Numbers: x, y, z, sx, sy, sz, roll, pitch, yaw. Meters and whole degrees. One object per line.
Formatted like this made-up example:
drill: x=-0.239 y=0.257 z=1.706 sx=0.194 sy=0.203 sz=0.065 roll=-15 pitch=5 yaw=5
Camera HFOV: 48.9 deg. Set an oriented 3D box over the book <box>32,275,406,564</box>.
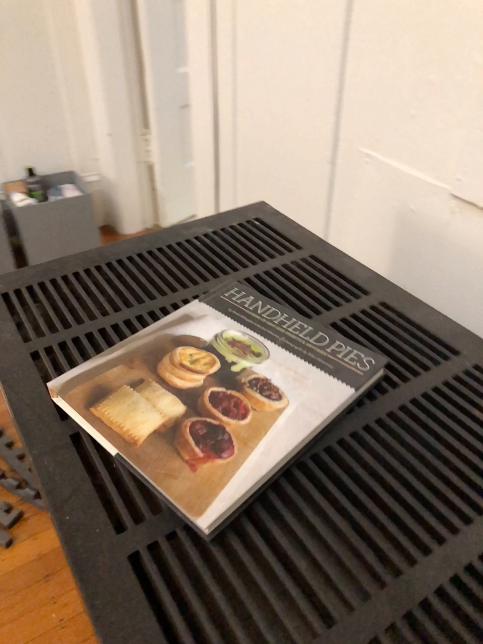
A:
book: x=-0.014 y=0.048 z=0.438 sx=0.200 sy=0.020 sz=0.231 roll=28 pitch=45 yaw=34
